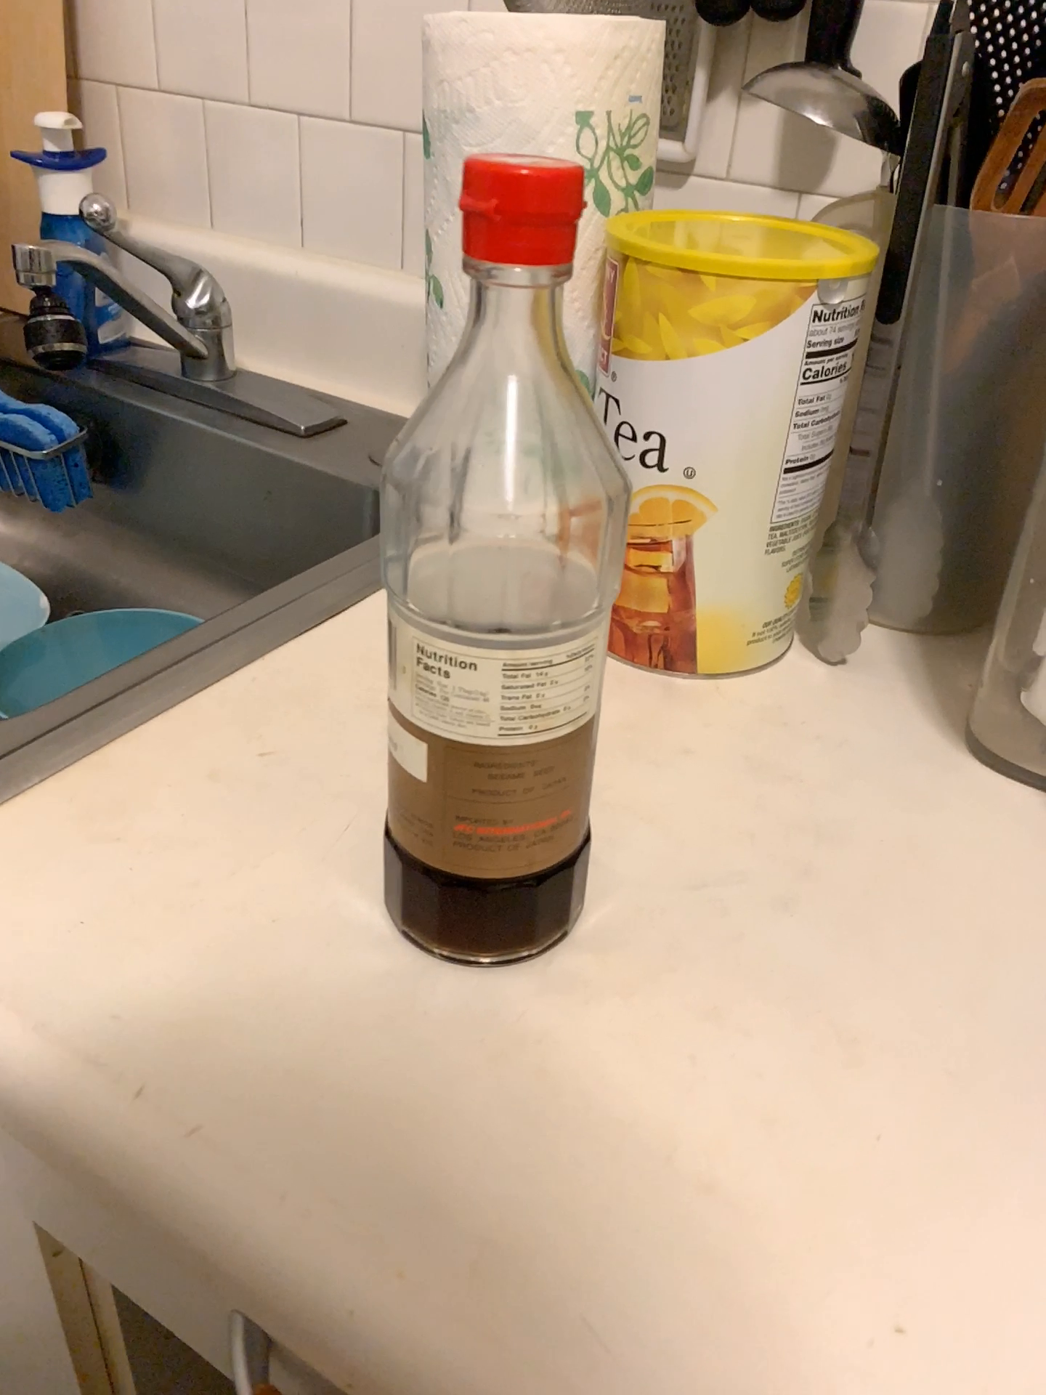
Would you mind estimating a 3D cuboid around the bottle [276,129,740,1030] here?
[{"bbox_3d":[-0.009,-0.029,0.345,0.090,0.258,0.090,4,33,-2],"label":"bottle"}]
